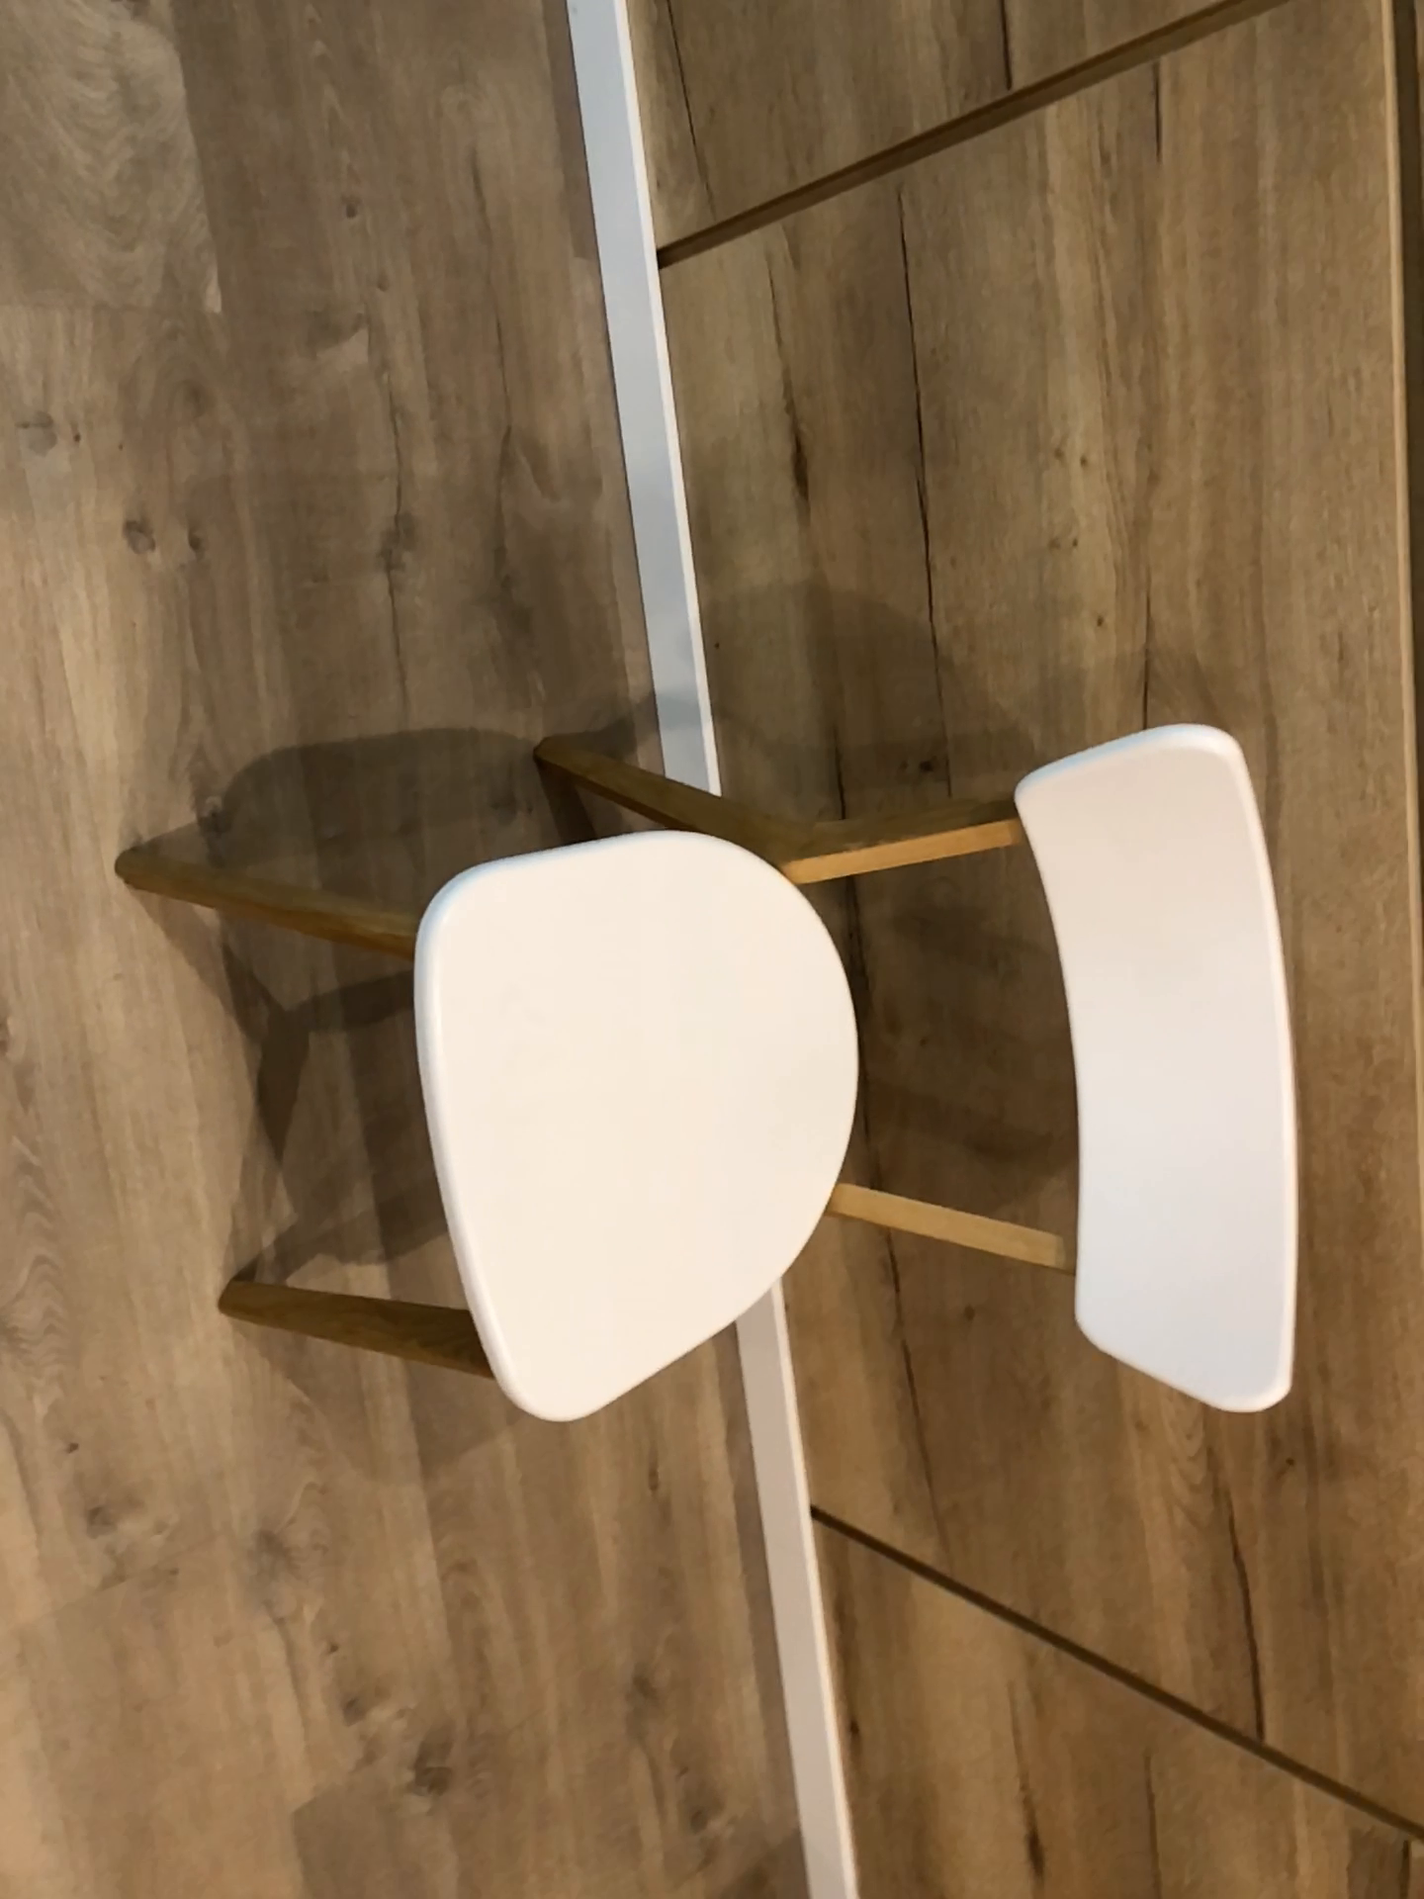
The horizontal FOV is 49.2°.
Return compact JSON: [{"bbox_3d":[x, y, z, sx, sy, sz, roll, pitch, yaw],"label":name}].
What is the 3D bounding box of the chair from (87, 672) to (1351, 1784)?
[{"bbox_3d":[-0.035,0.098,1.246,0.532,0.826,0.500,-20,107,-36],"label":"chair"}]
